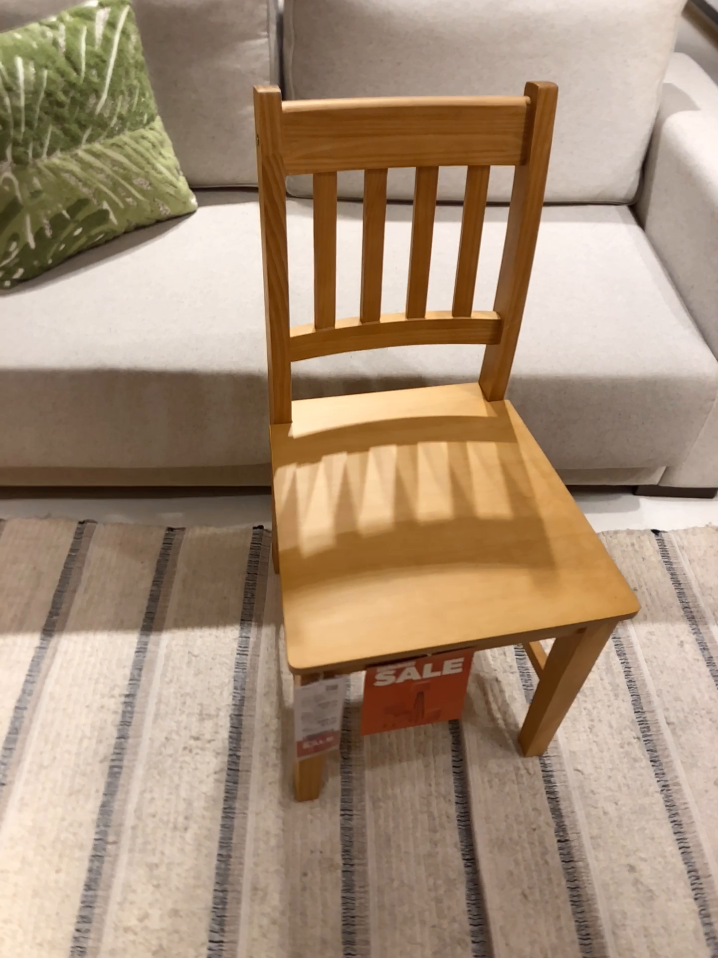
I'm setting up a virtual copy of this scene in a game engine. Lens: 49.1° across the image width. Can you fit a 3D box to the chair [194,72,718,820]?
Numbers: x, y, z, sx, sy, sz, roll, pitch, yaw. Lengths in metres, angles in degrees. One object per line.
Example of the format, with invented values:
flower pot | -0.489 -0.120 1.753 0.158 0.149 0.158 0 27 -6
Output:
chair | 0.072 -0.007 1.048 0.460 0.814 0.523 -7 48 -12
